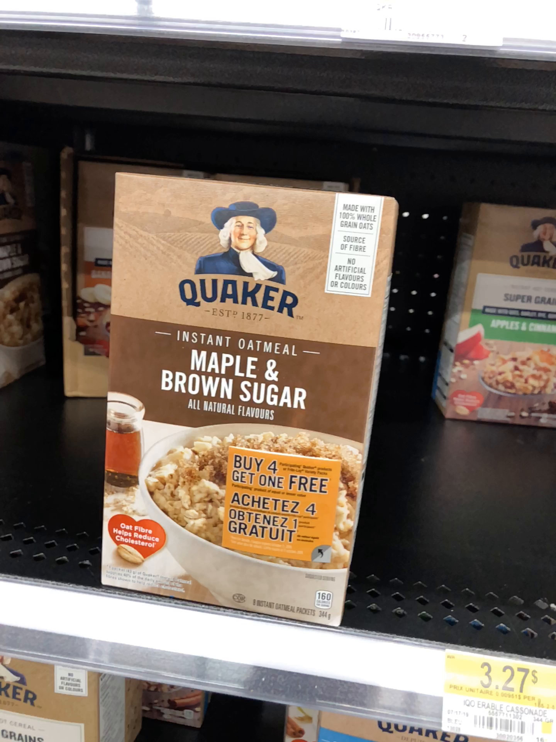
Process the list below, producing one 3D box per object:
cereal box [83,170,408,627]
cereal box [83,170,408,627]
[{"bbox_3d":[-0.018,0.010,0.295,0.130,0.189,0.060,7,15,8],"label":"cereal box"},{"bbox_3d":[-0.018,0.010,0.295,0.130,0.189,0.060,7,15,8],"label":"cereal box"}]
